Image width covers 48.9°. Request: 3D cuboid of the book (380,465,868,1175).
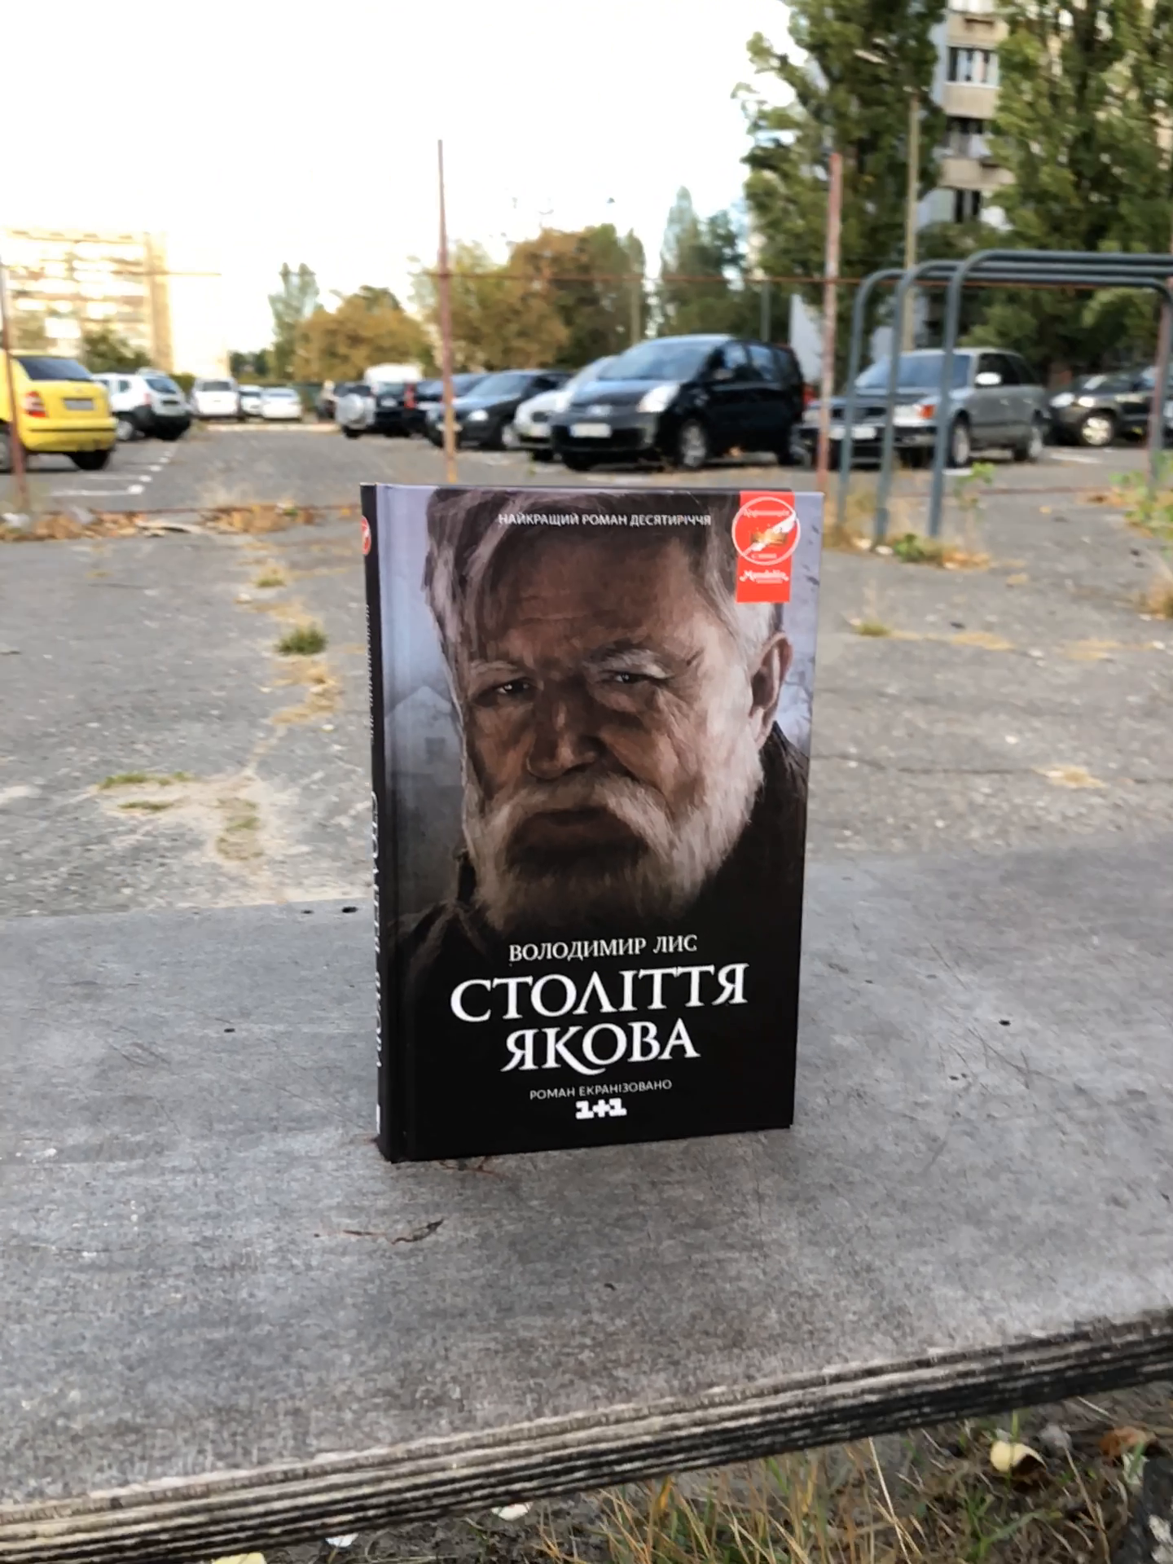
[{"bbox_3d":[0.011,0.011,0.400,0.140,0.212,0.030,-2,12,-9],"label":"book"}]
